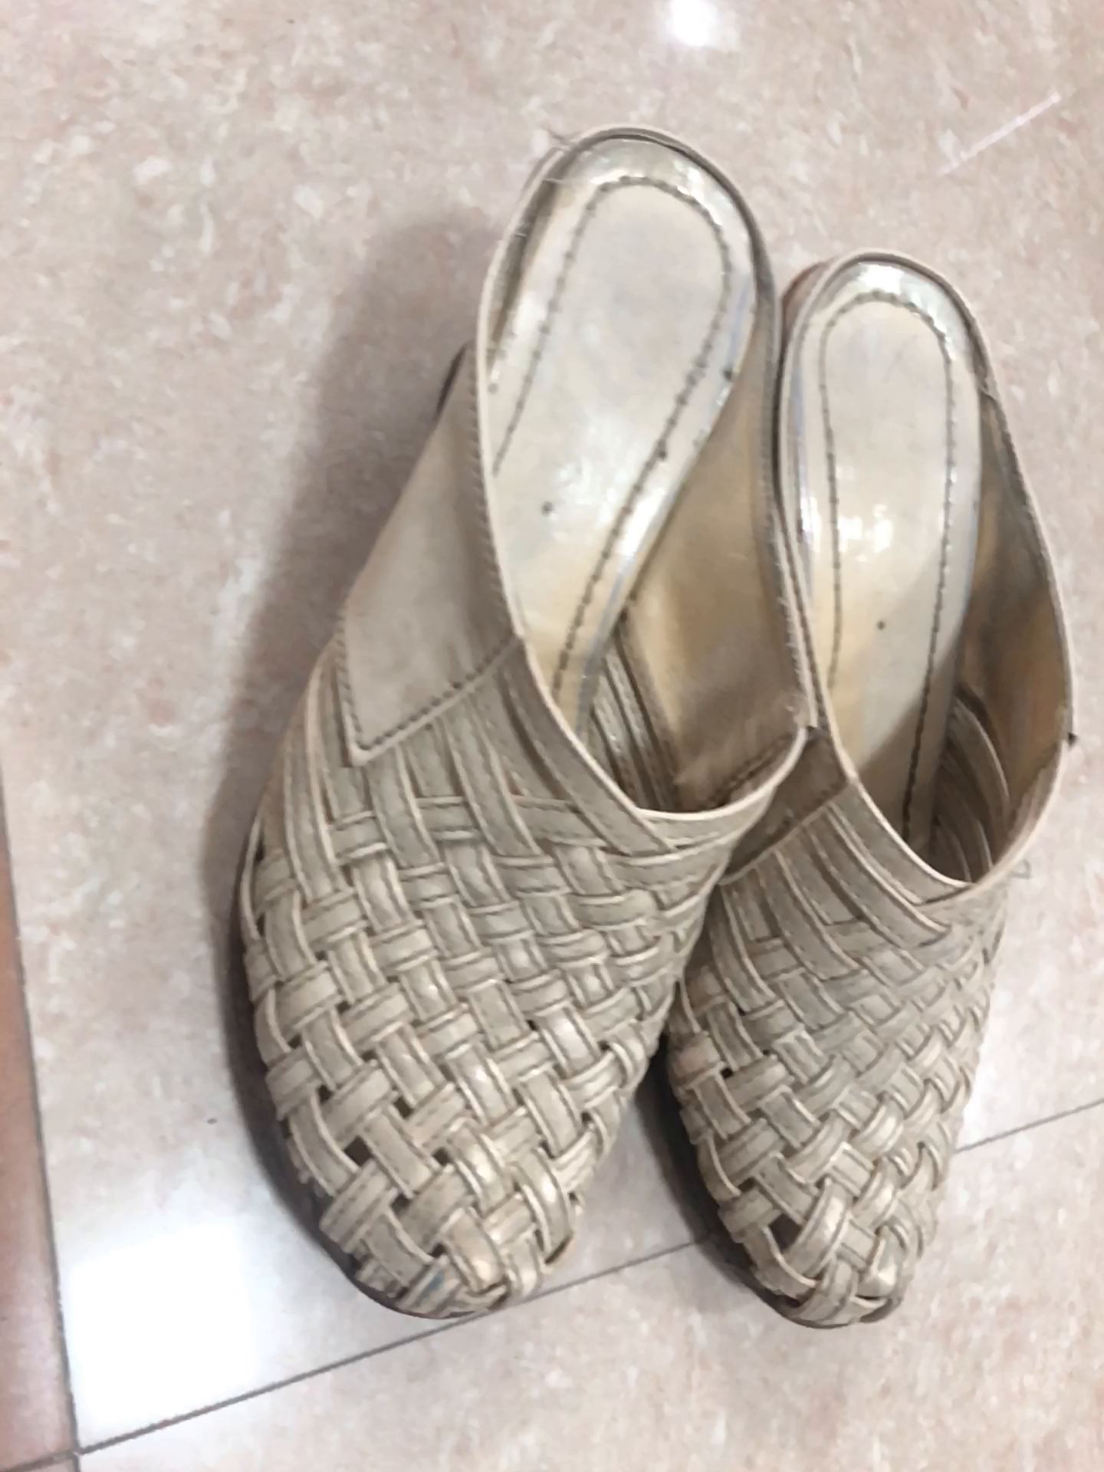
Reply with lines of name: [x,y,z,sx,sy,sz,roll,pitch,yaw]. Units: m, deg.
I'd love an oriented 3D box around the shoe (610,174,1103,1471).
shoe: [0.070,0.016,0.280,0.090,0.080,0.240,4,81,-20]

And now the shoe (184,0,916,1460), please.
shoe: [0.001,-0.002,0.247,0.090,0.080,0.240,13,78,-21]
